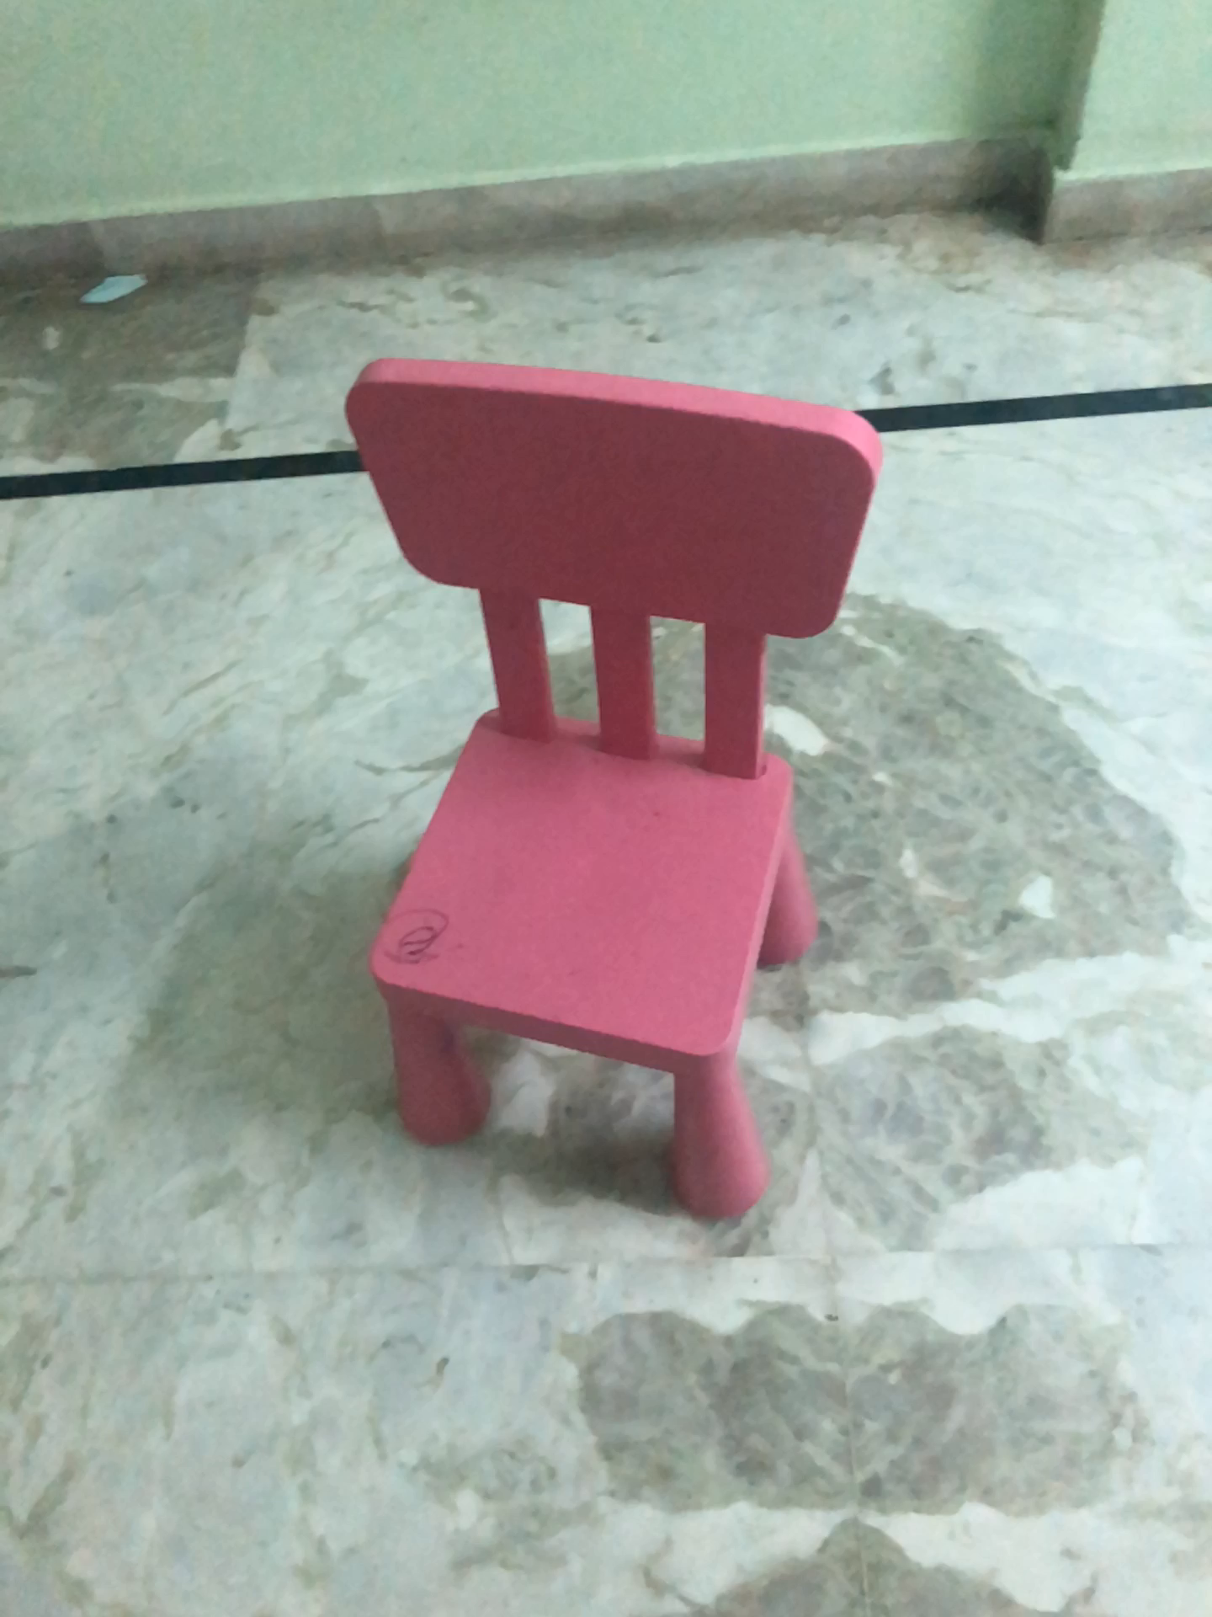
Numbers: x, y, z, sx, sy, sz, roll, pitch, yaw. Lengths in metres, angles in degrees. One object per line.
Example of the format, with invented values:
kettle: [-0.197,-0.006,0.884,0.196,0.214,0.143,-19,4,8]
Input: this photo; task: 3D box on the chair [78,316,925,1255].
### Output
chair: [-0.016,0.023,1.032,0.400,0.627,0.381,10,58,13]
